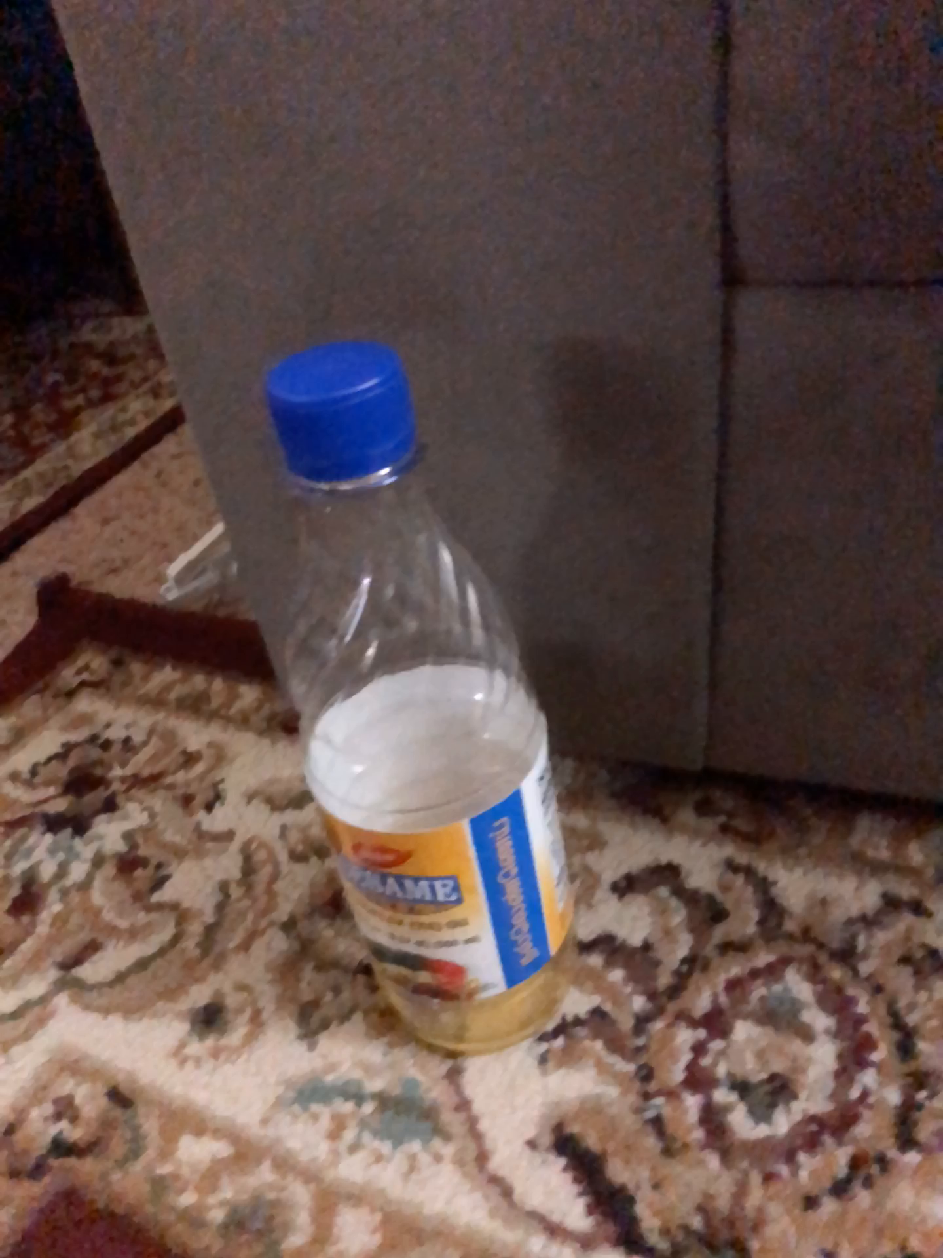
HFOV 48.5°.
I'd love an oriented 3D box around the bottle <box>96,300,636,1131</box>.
[{"bbox_3d":[-0.010,0.028,0.266,0.070,0.199,0.070,-8,33,5],"label":"bottle"}]
